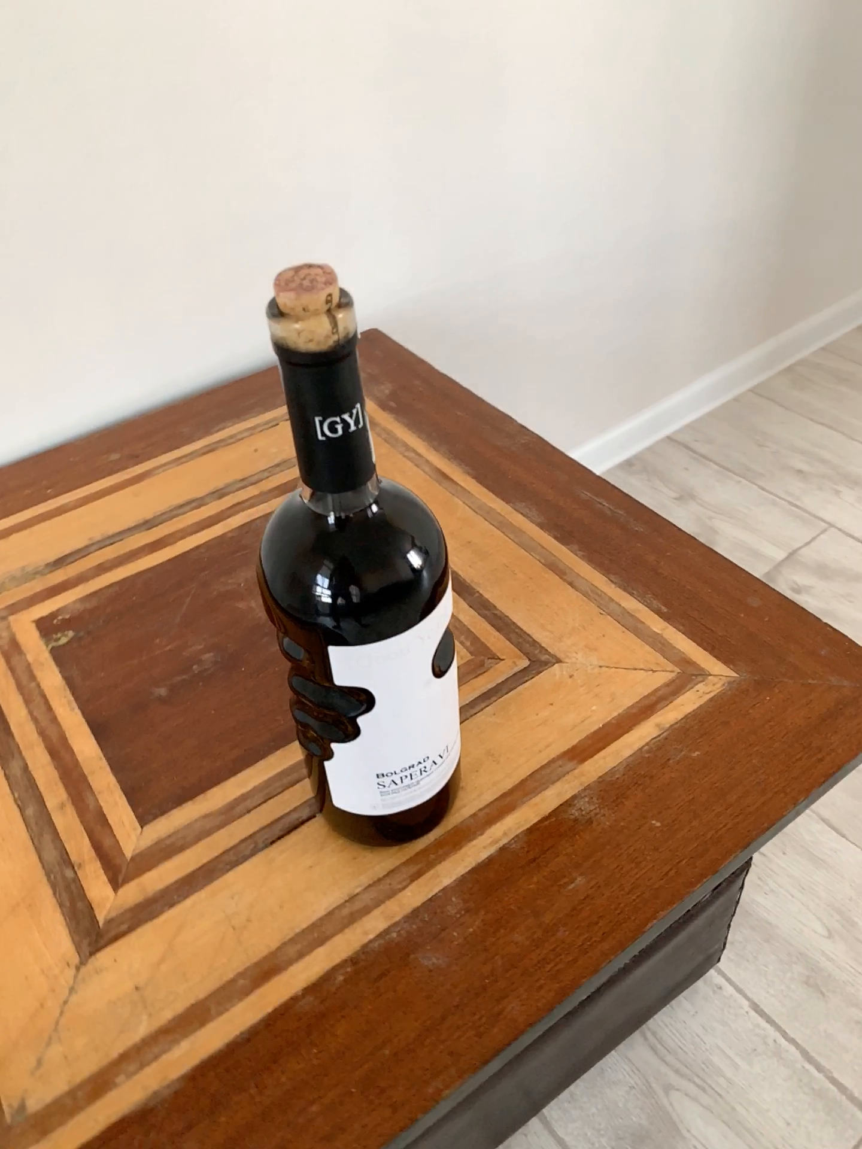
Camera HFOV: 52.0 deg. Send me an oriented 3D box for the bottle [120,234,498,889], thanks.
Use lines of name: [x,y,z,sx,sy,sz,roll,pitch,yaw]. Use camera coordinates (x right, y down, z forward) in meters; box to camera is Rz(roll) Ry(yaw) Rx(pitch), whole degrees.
bottle: [-0.037,0.011,0.385,0.090,0.269,0.090,-3,42,3]
